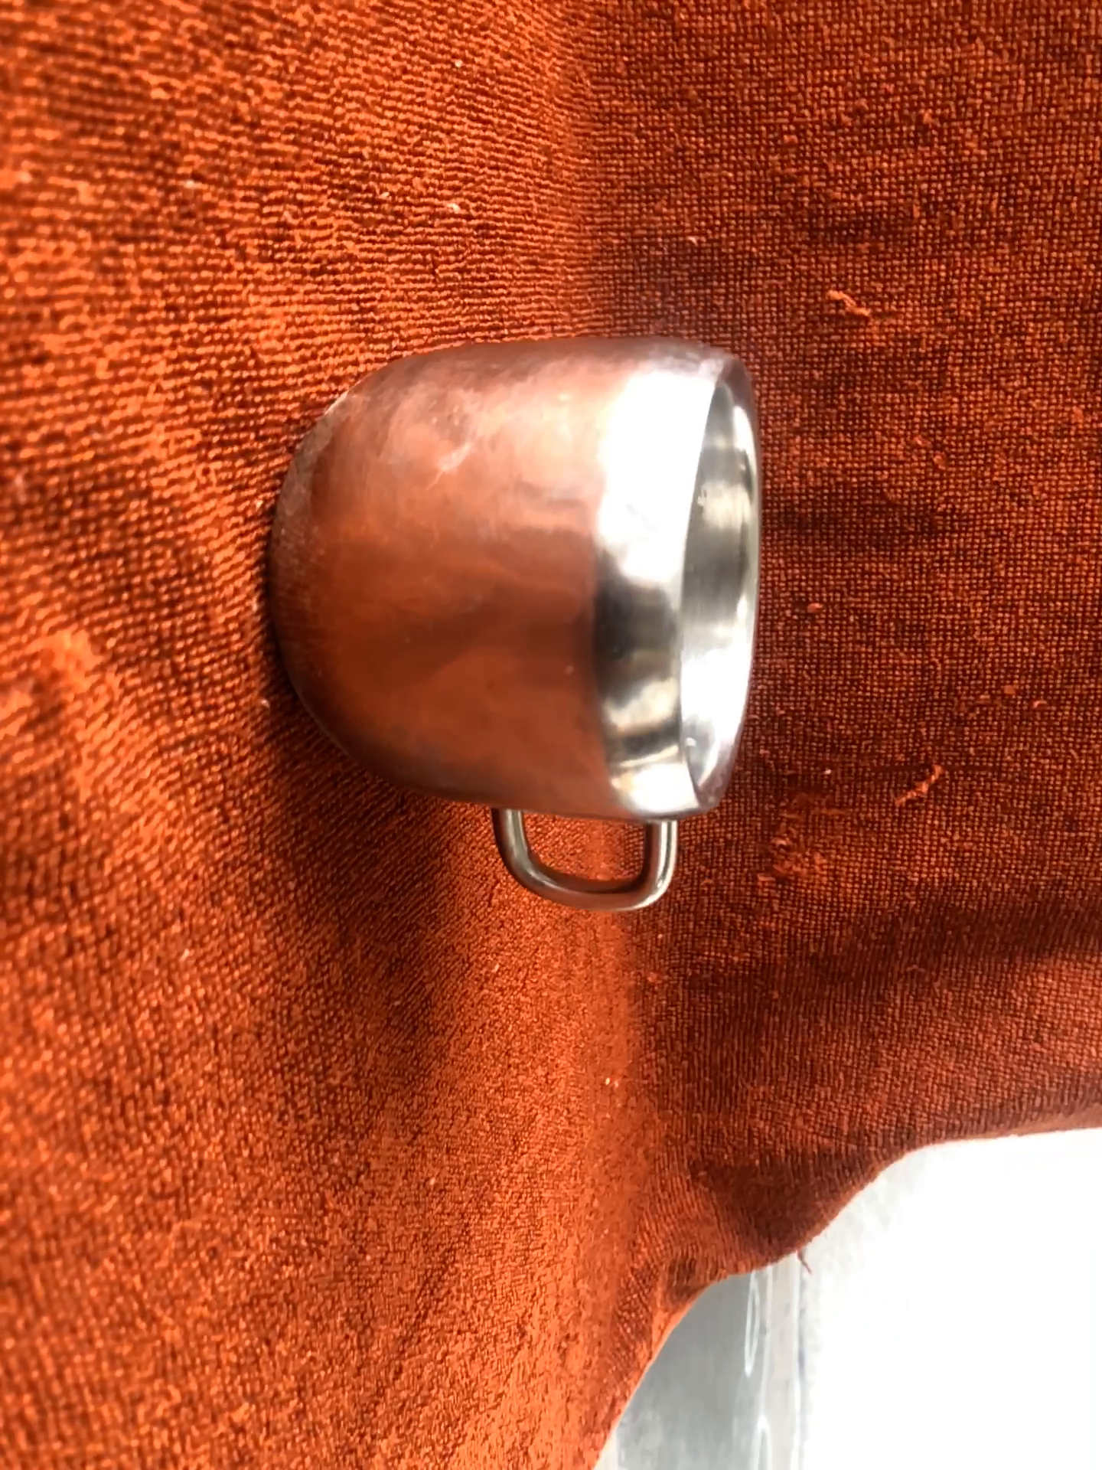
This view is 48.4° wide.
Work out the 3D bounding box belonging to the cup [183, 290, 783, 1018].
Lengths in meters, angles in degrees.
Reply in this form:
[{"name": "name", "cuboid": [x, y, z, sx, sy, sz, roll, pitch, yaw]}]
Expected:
[{"name": "cup", "cuboid": [0.000, -0.011, 0.190, 0.060, 0.060, 0.090, -68, 155, -42]}]
